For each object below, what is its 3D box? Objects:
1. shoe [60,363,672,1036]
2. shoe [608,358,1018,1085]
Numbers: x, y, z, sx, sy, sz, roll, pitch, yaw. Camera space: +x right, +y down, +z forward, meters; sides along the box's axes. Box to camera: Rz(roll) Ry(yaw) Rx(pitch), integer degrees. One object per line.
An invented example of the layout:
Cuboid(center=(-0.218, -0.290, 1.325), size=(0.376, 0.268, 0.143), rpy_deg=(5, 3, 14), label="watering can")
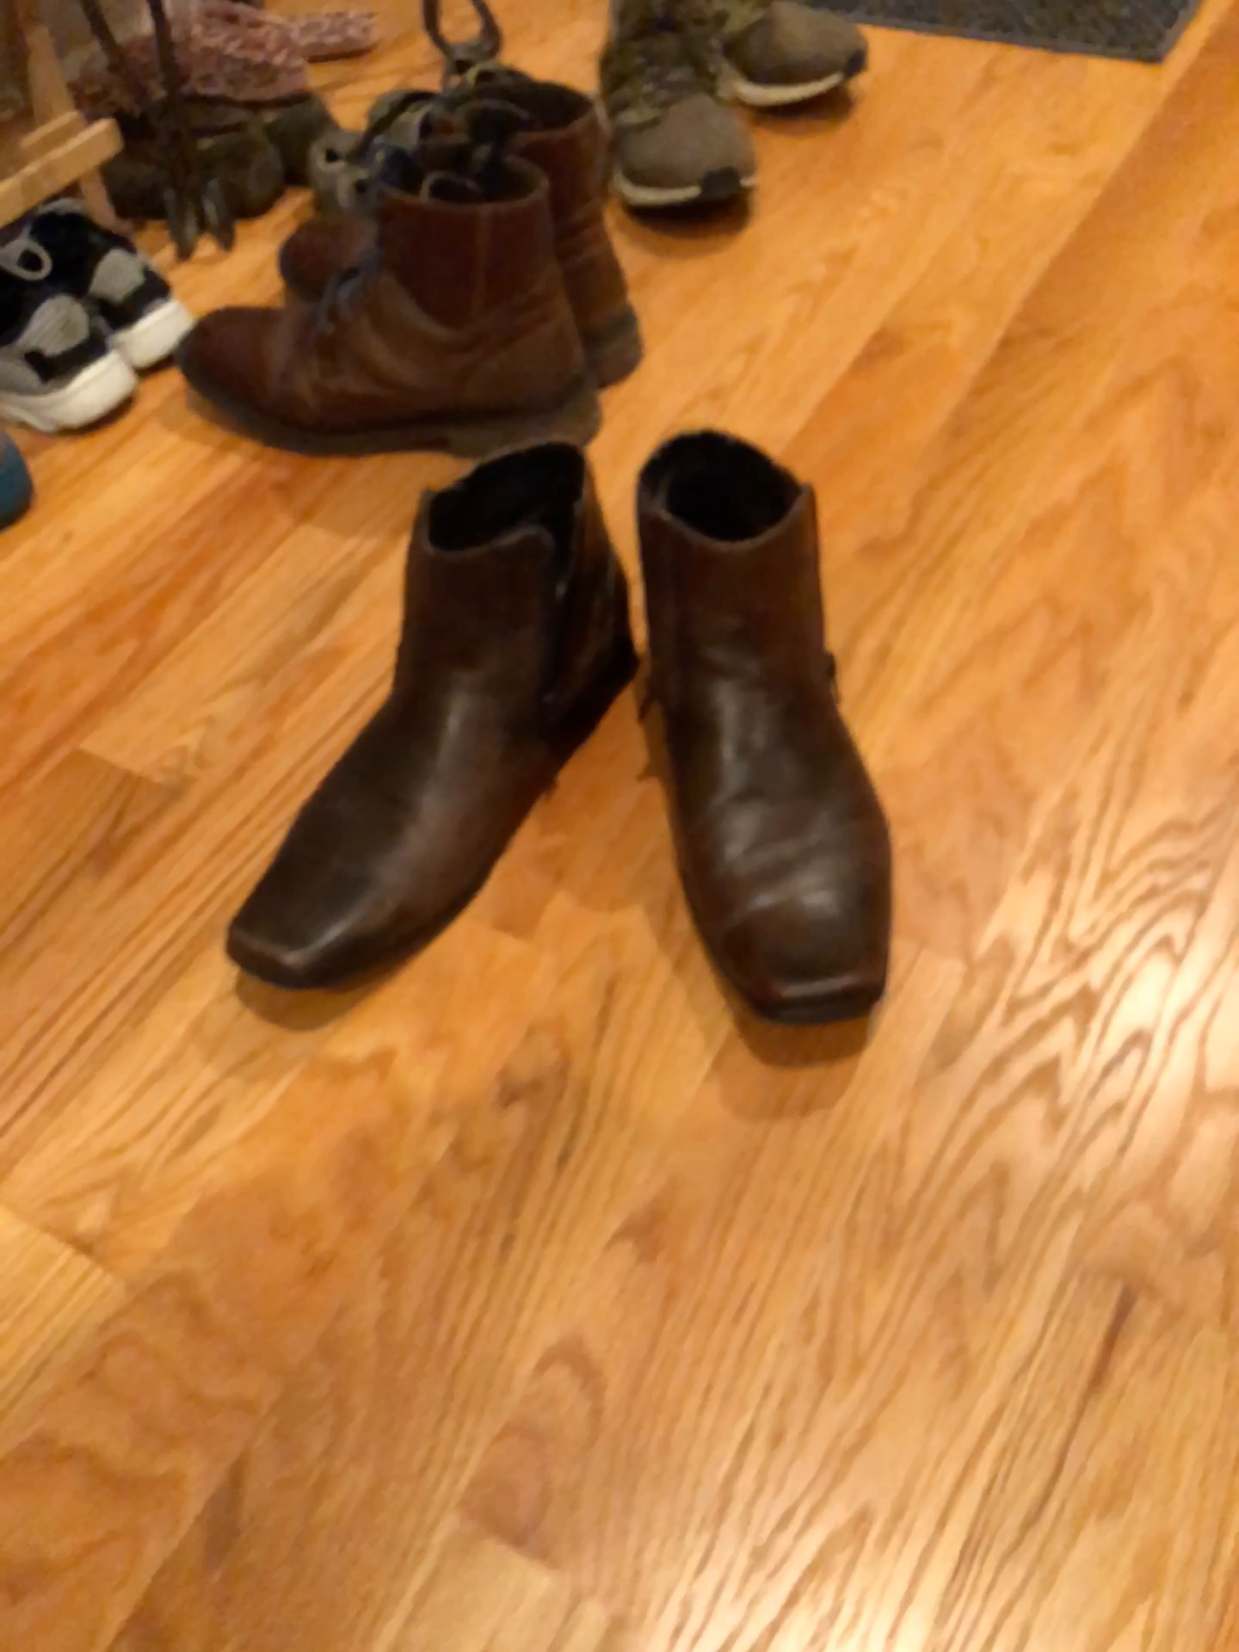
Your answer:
Cuboid(center=(-0.097, -0.071, 0.661), size=(0.109, 0.142, 0.291), rpy_deg=(21, 56, 22), label="shoe")
Cuboid(center=(0.073, -0.059, 0.638), size=(0.109, 0.152, 0.302), rpy_deg=(-9, 50, -1), label="shoe")
